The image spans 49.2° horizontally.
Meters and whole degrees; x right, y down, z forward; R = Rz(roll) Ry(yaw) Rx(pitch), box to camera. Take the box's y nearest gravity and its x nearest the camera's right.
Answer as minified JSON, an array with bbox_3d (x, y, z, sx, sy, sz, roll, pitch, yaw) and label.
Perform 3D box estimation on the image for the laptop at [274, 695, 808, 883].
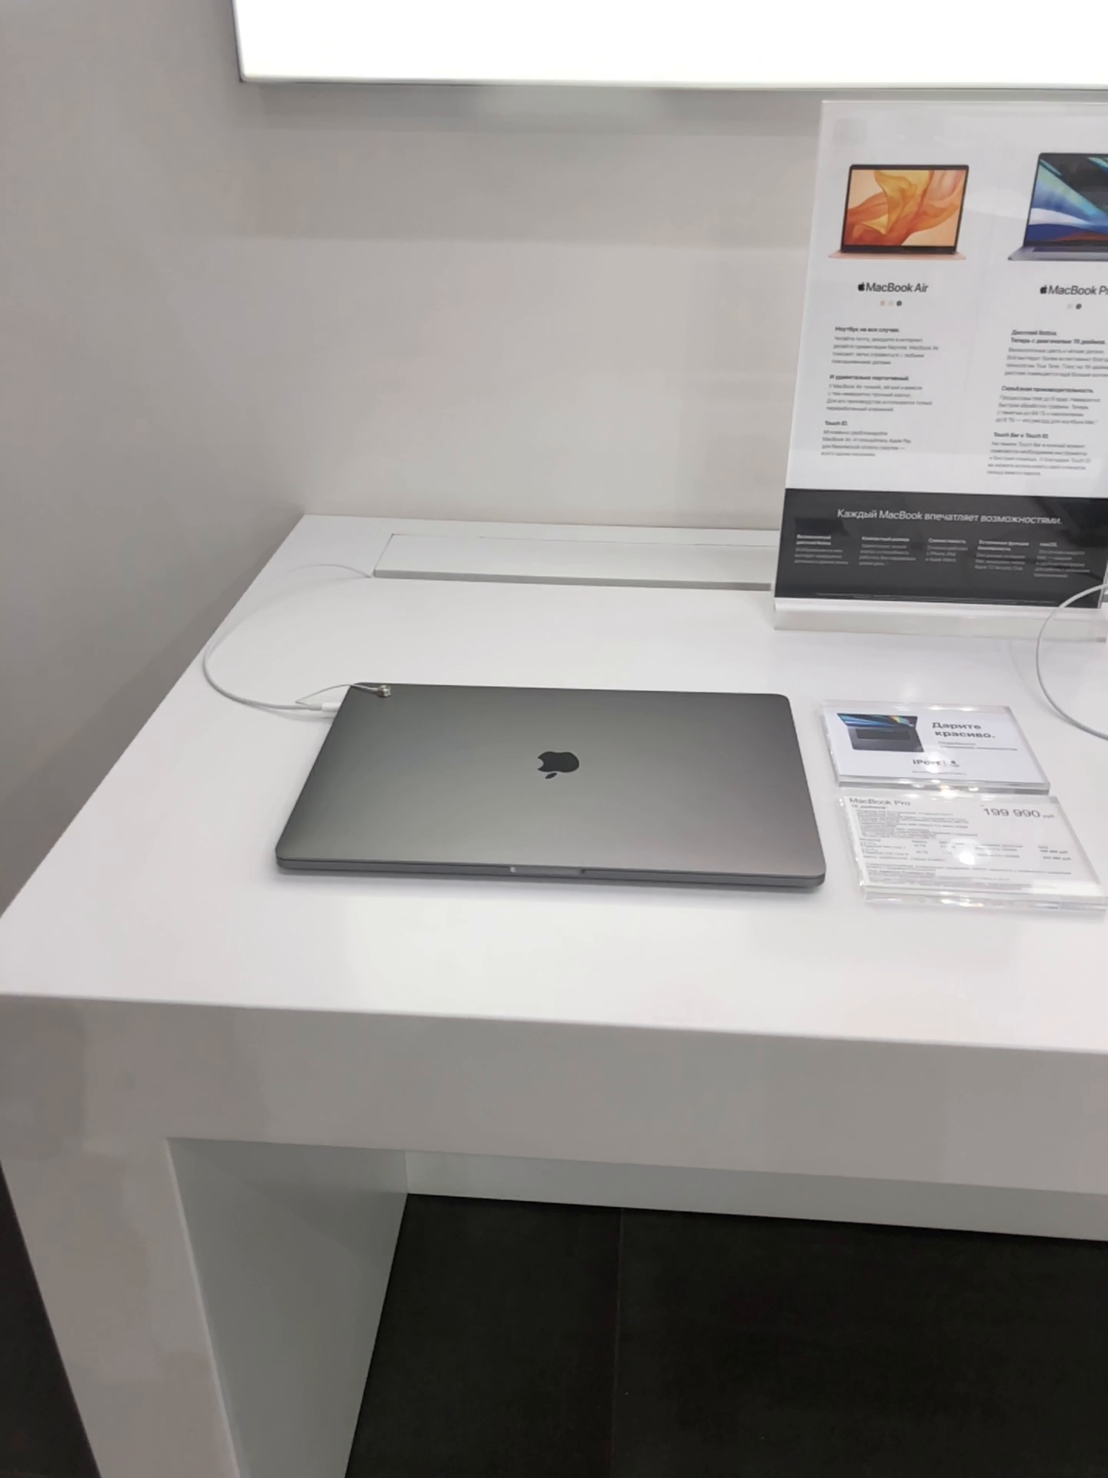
[{"bbox_3d":[-0.003,0.028,0.880,0.344,0.003,0.232,1,30,3],"label":"laptop"}]
